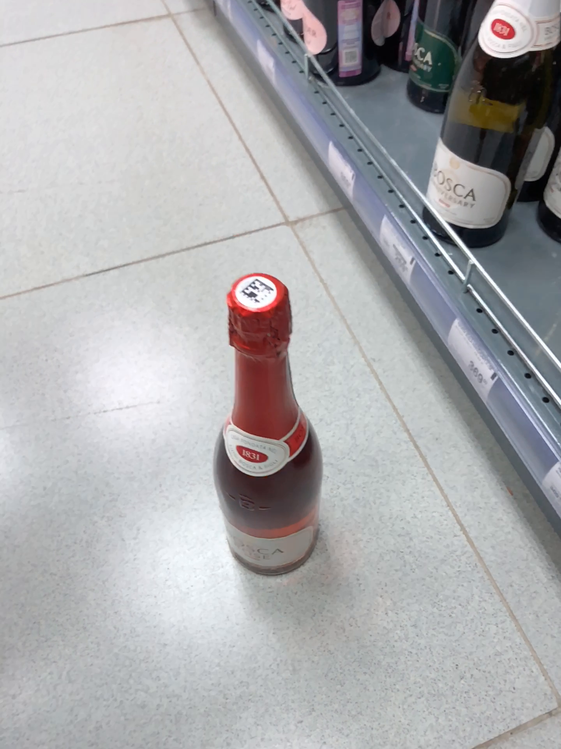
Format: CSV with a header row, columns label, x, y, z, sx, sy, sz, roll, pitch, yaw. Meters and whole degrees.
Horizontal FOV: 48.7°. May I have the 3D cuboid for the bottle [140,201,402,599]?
label,x,y,z,sx,sy,sz,roll,pitch,yaw
bottle,0.000,0.047,0.450,0.100,0.317,0.100,-1,54,1
